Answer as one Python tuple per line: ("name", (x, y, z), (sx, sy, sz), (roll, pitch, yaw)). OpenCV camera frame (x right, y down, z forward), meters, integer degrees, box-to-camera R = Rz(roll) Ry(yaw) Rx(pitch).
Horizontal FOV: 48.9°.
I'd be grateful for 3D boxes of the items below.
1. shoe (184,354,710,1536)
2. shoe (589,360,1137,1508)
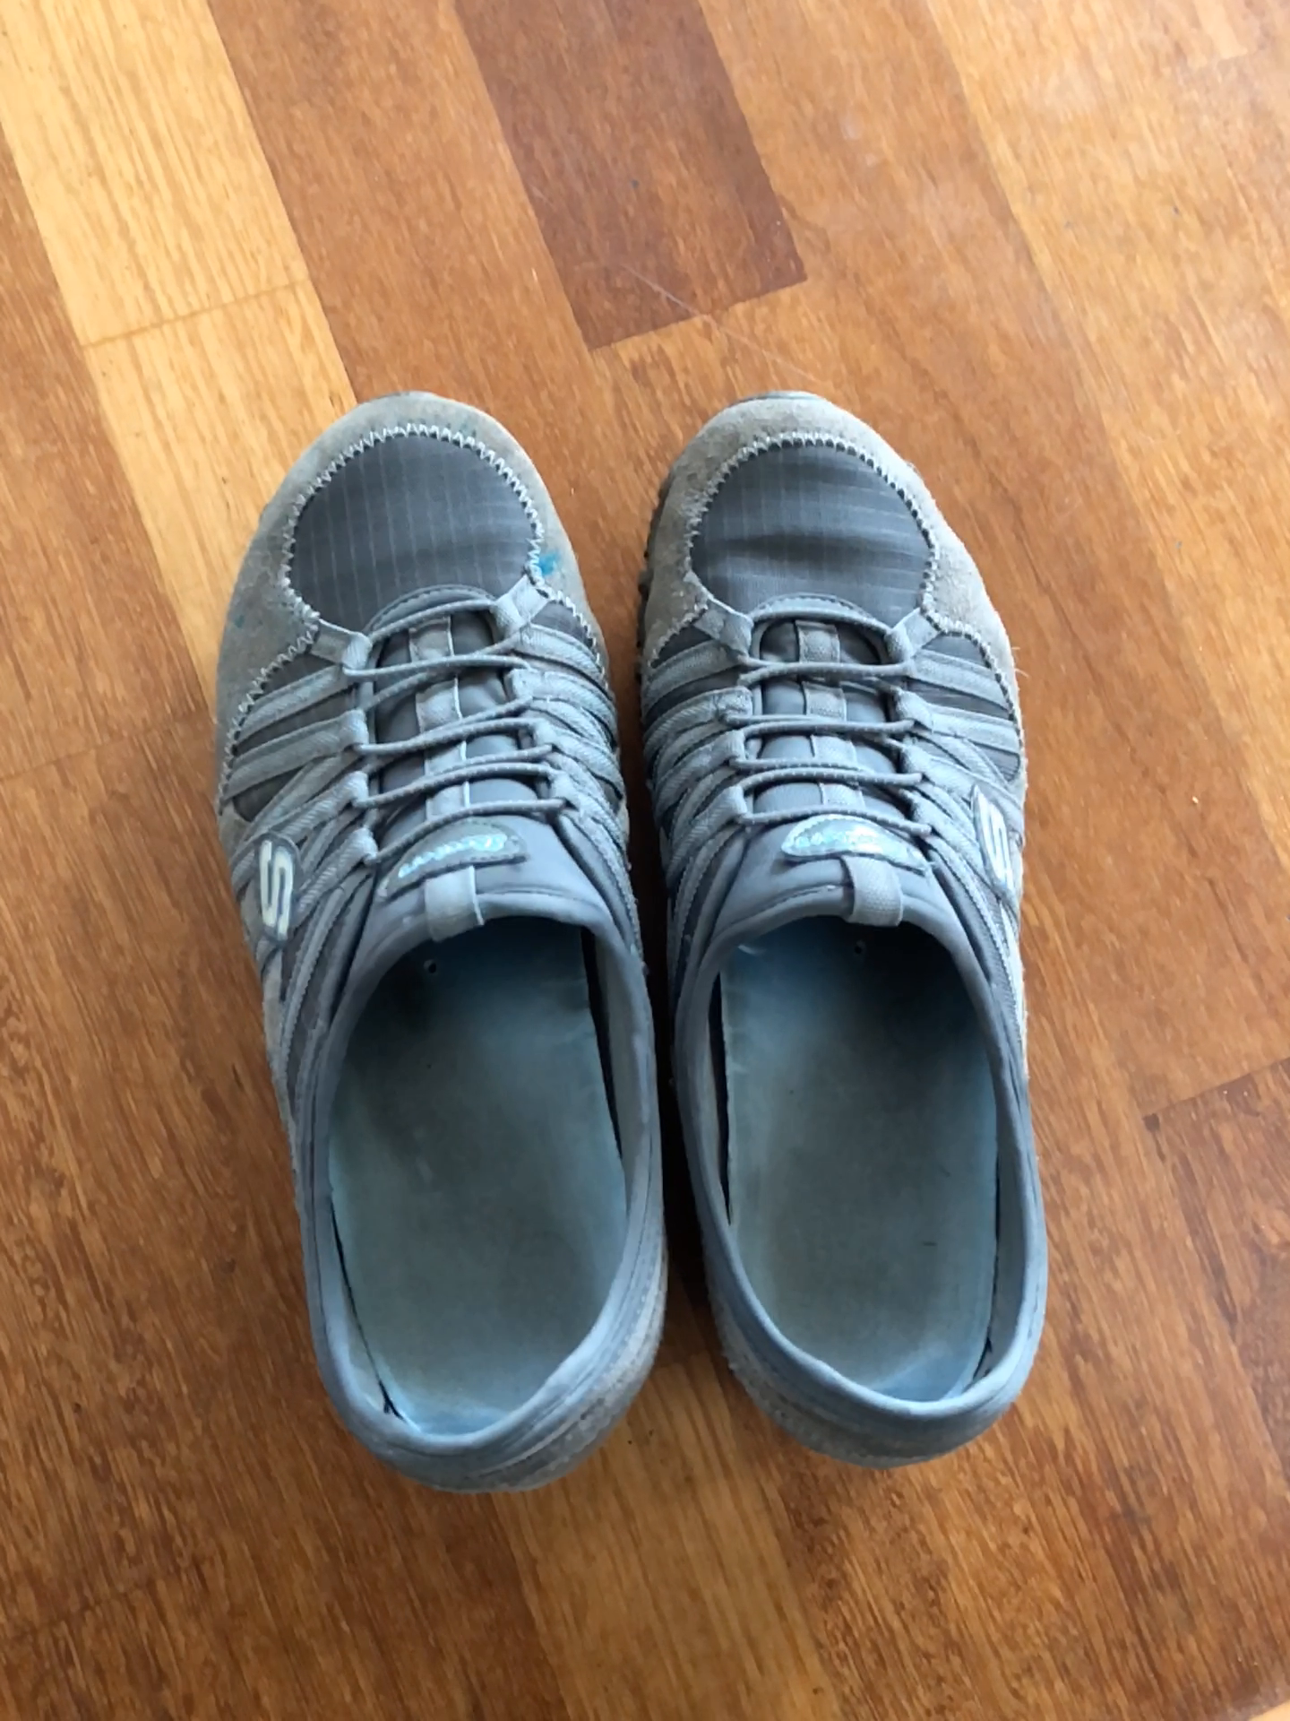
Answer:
("shoe", (-0.050, 0.017, 0.366), (0.096, 0.106, 0.253), (-5, 84, -6))
("shoe", (0.045, 0.015, 0.370), (0.093, 0.106, 0.249), (-5, 84, -6))
